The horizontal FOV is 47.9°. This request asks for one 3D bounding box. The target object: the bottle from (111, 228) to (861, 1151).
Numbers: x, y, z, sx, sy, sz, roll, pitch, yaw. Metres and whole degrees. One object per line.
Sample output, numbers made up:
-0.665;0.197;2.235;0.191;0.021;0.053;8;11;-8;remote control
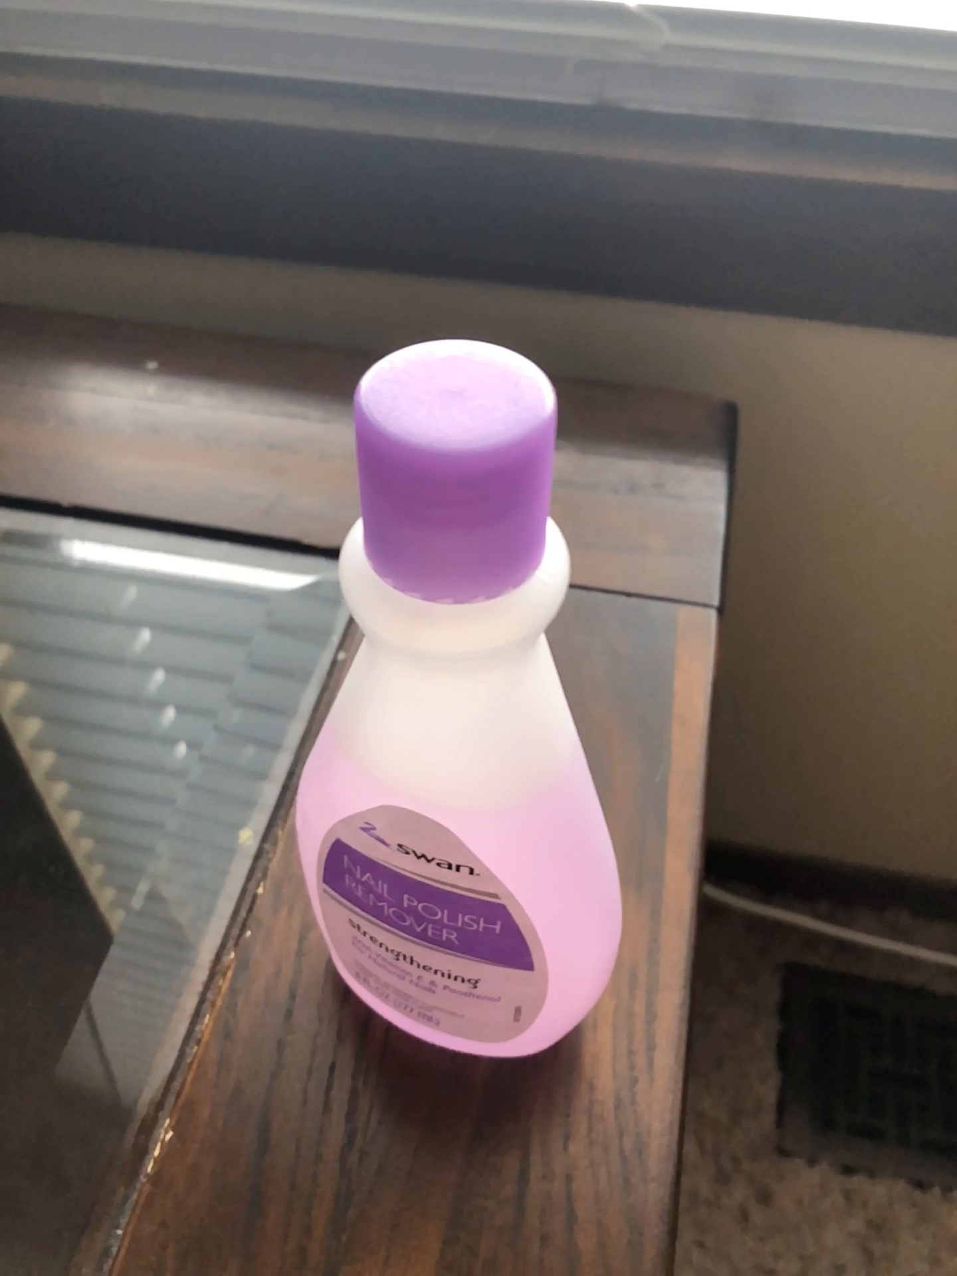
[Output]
0.002;0.025;0.198;0.080;0.170;0.050;20;51;17;bottle
